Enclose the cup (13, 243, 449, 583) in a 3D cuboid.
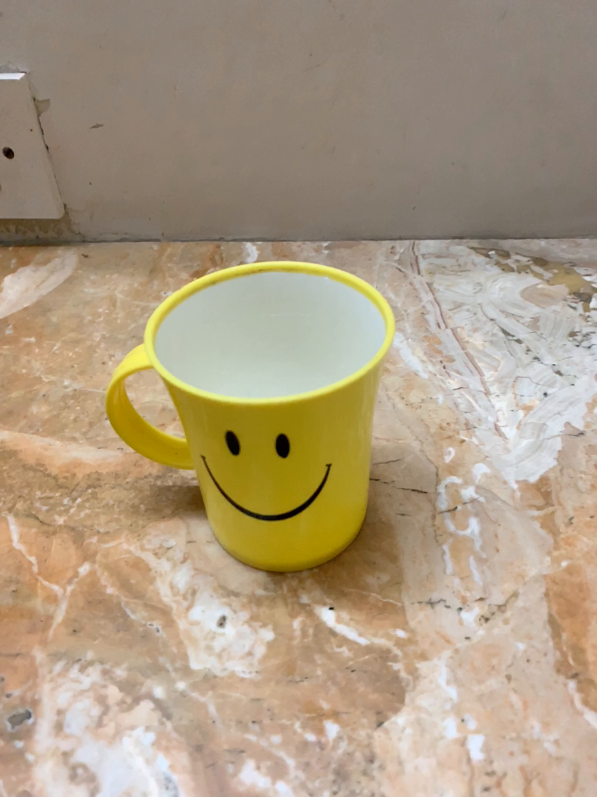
[{"bbox_3d":[-0.015,0.006,0.210,0.110,0.089,0.071,0,41,4],"label":"cup"}]
